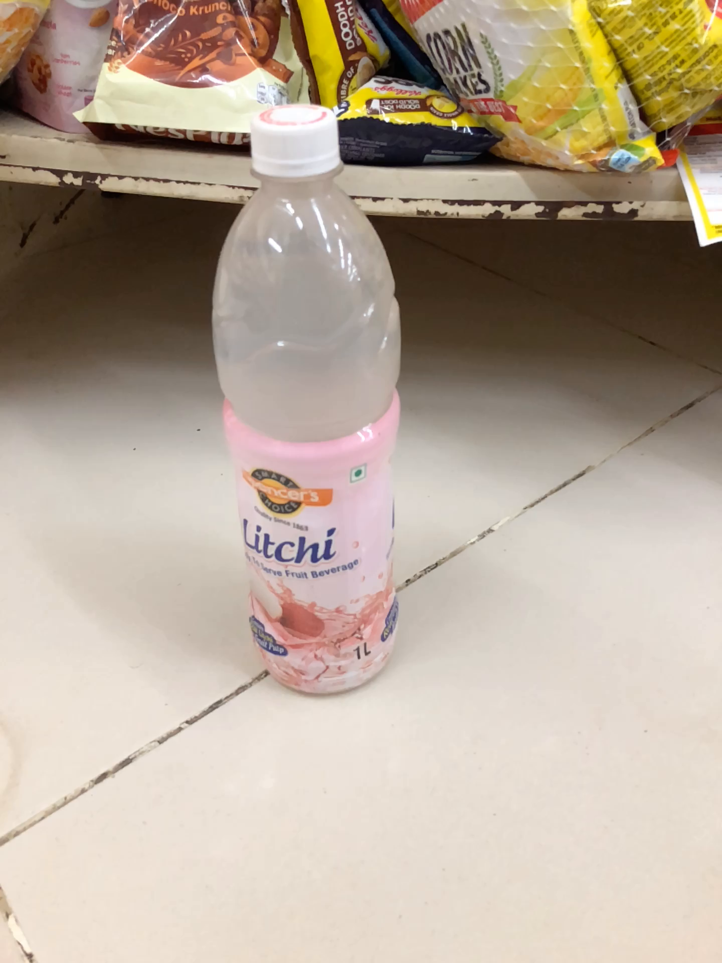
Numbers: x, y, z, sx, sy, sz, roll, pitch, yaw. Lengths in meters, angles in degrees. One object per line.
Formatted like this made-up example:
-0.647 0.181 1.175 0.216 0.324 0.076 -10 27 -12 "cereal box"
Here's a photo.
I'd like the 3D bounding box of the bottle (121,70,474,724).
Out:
-0.011 -0.021 0.314 0.080 0.238 0.081 -2 37 1 "bottle"
